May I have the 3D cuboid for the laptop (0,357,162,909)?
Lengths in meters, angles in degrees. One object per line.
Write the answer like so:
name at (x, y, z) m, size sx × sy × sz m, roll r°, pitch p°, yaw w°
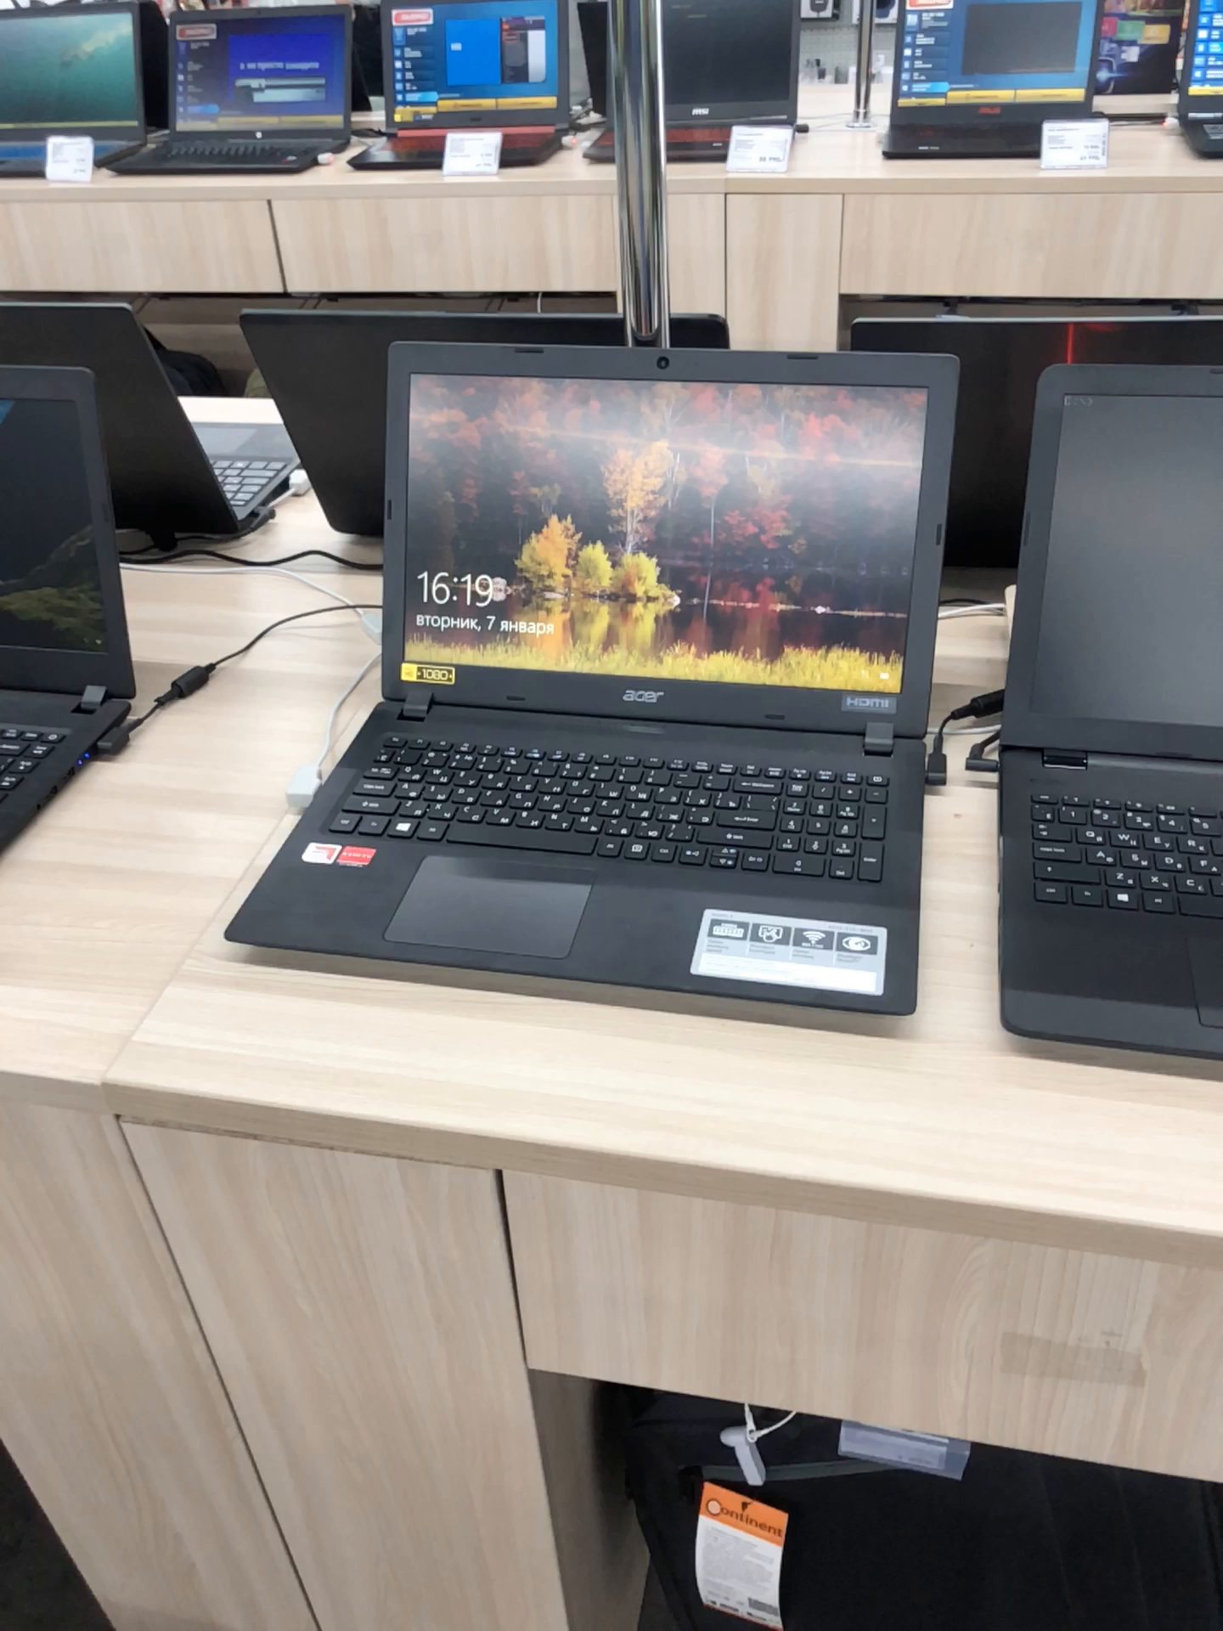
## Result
laptop at (-0.534, -0.137, 0.876) m, size 0.306 × 0.214 × 0.302 m, roll 6°, pitch 38°, yaw 12°

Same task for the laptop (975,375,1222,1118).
laptop at (0.406, -0.065, 0.696) m, size 0.377 × 0.212 × 0.339 m, roll 6°, pitch 36°, yaw 13°

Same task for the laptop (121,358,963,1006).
laptop at (0.003, -0.107, 0.796) m, size 0.373 × 0.208 × 0.369 m, roll 4°, pitch 37°, yaw 11°
